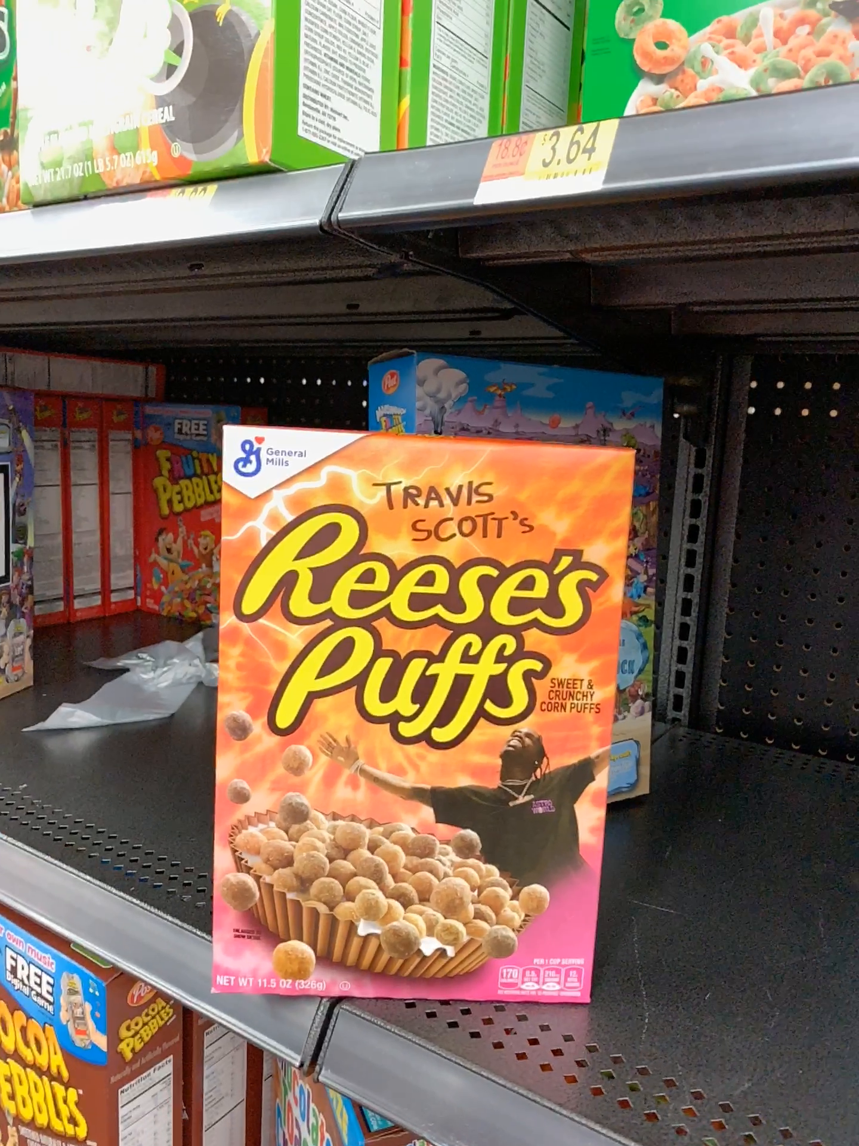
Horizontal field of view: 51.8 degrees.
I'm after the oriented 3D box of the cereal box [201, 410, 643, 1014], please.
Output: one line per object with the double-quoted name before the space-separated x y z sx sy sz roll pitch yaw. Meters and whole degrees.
"cereal box" -0.008 0.070 0.446 0.200 0.289 0.050 2 7 -1
